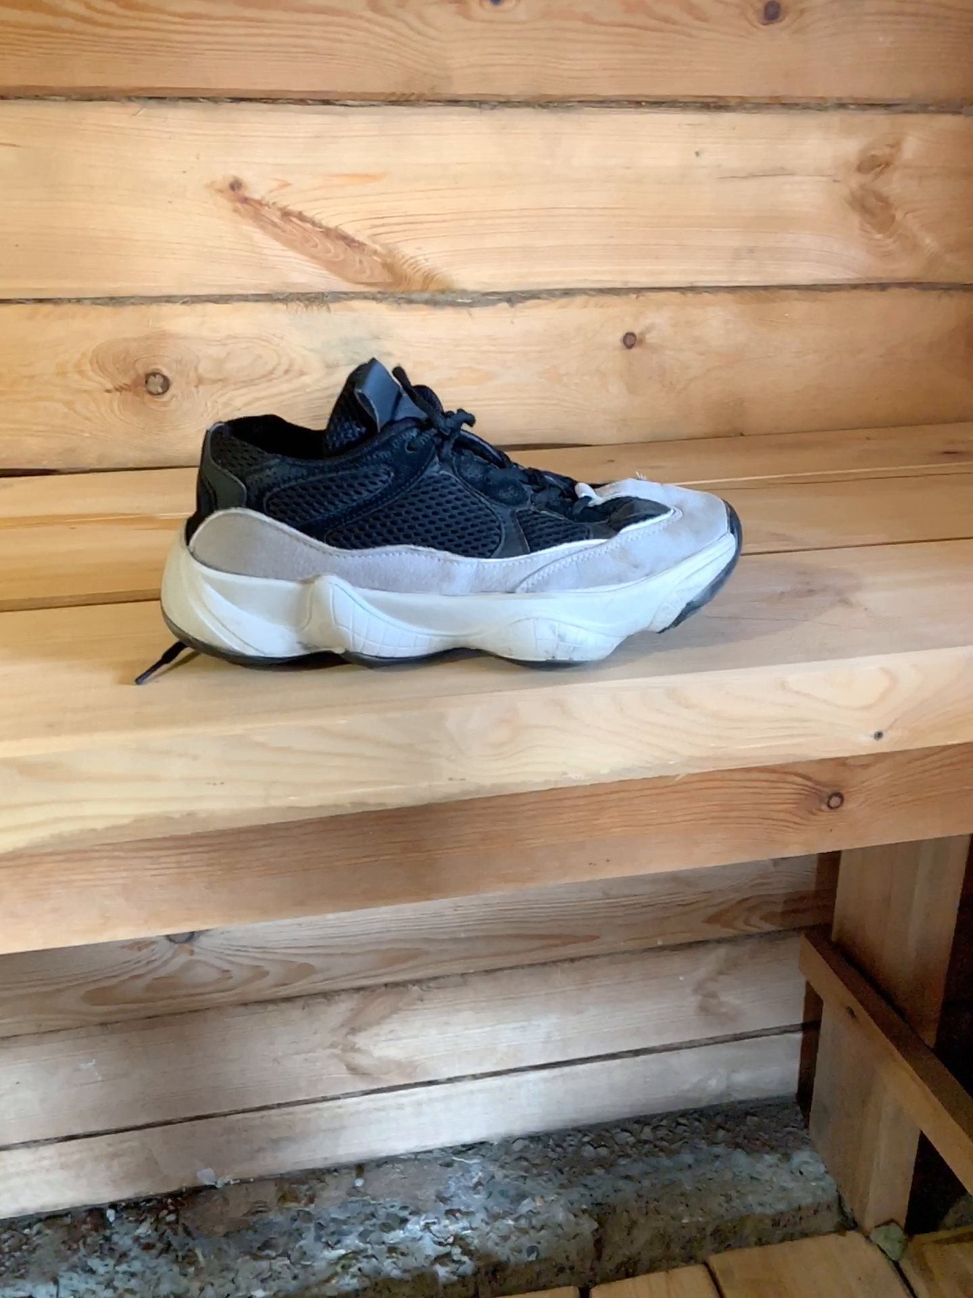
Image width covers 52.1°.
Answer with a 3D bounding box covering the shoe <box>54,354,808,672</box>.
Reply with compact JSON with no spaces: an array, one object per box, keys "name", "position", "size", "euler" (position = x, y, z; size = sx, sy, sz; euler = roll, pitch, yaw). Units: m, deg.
[{"name":"shoe","position":[-0.019,-0.065,0.431],"size":[0.270,0.109,0.121],"euler":[0,21,0]}]
